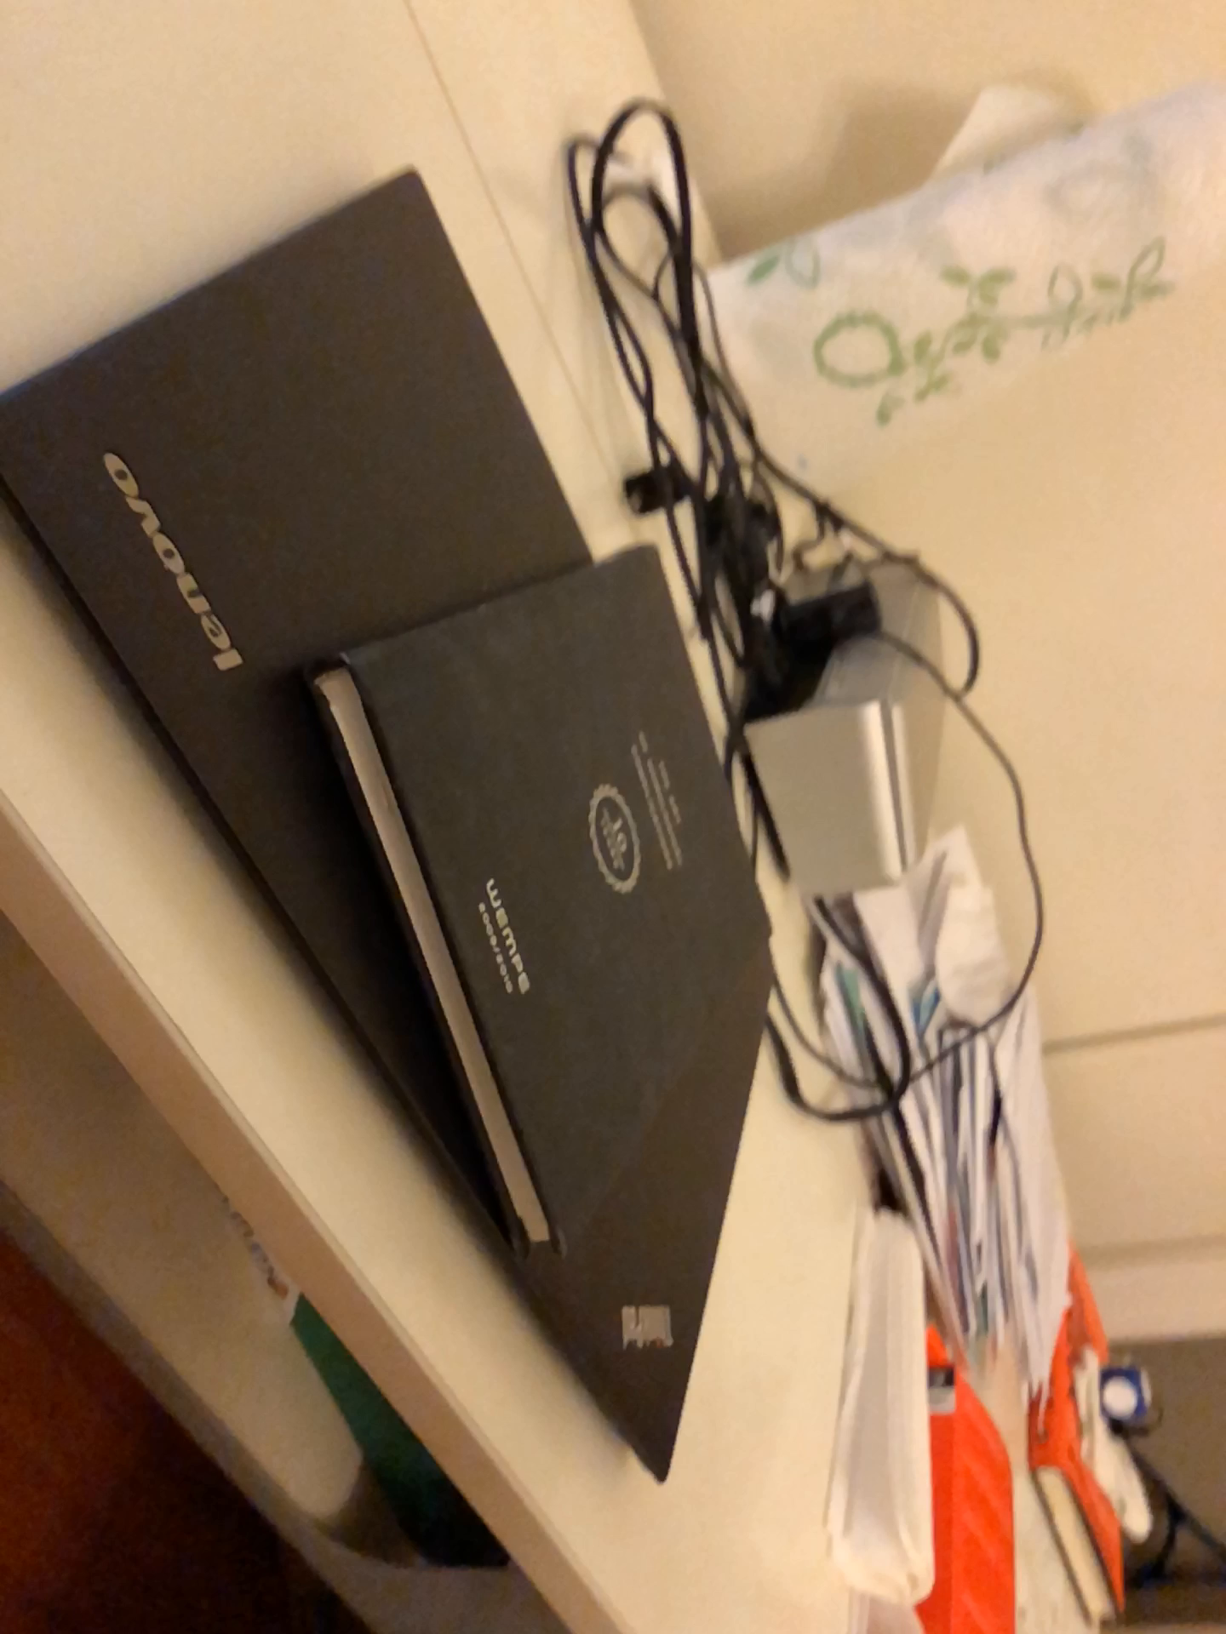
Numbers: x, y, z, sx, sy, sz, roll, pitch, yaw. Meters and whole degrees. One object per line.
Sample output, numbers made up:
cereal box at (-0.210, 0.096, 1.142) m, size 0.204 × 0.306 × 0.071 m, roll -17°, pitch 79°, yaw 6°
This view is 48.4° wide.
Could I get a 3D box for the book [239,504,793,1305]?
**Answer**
book at (-0.007, 0.004, 0.410) m, size 0.221 × 0.030 × 0.170 m, roll -43°, pitch 117°, yaw -64°
